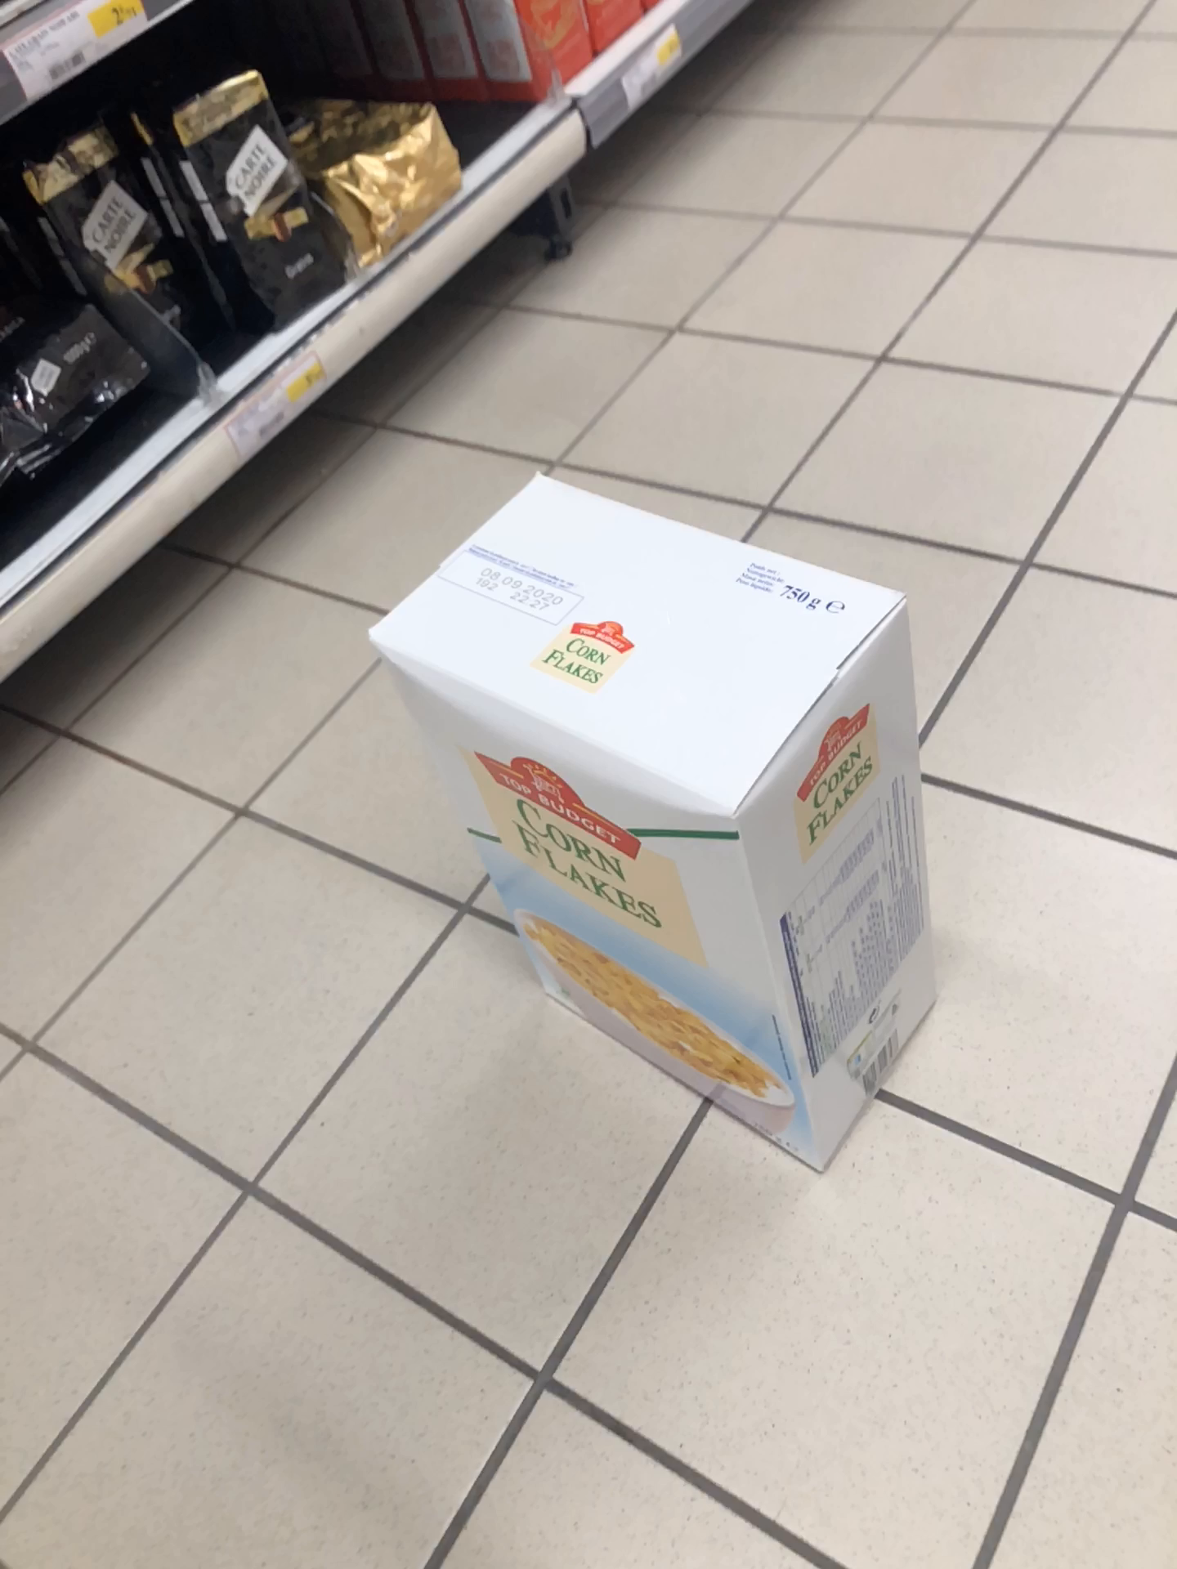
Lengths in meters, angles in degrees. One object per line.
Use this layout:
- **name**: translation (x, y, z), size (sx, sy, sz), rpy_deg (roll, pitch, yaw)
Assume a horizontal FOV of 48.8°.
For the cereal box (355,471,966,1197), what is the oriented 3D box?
- **cereal box**: translation (0.050, 0.029, 0.604), size (0.200, 0.289, 0.121), rpy_deg (25, 61, 34)
